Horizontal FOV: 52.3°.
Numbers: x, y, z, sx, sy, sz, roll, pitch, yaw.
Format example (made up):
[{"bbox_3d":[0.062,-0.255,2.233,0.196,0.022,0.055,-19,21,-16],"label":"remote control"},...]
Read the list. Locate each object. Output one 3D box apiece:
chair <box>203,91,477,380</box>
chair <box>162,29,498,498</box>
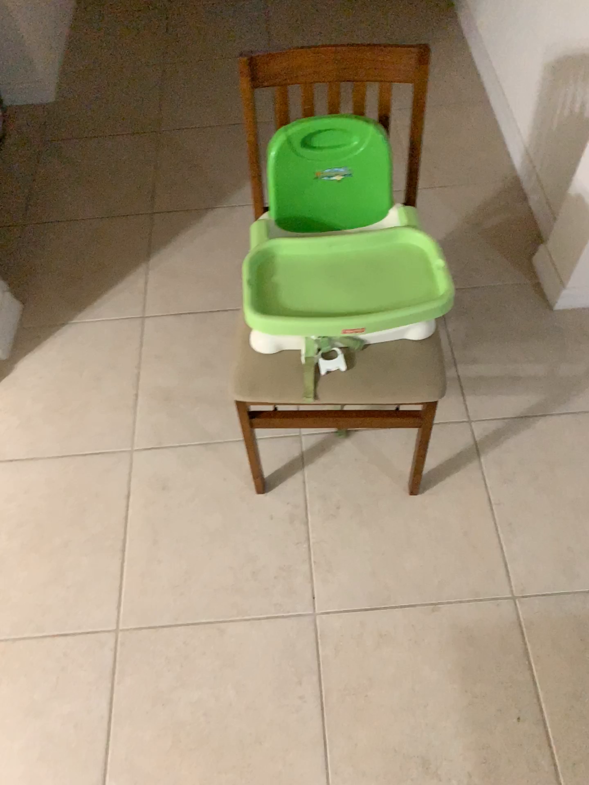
[{"bbox_3d":[0.070,-0.285,1.128,0.404,0.328,0.387,-3,58,2],"label":"chair"},{"bbox_3d":[0.080,-0.194,1.335,0.454,0.884,0.559,0,59,4],"label":"chair"}]
